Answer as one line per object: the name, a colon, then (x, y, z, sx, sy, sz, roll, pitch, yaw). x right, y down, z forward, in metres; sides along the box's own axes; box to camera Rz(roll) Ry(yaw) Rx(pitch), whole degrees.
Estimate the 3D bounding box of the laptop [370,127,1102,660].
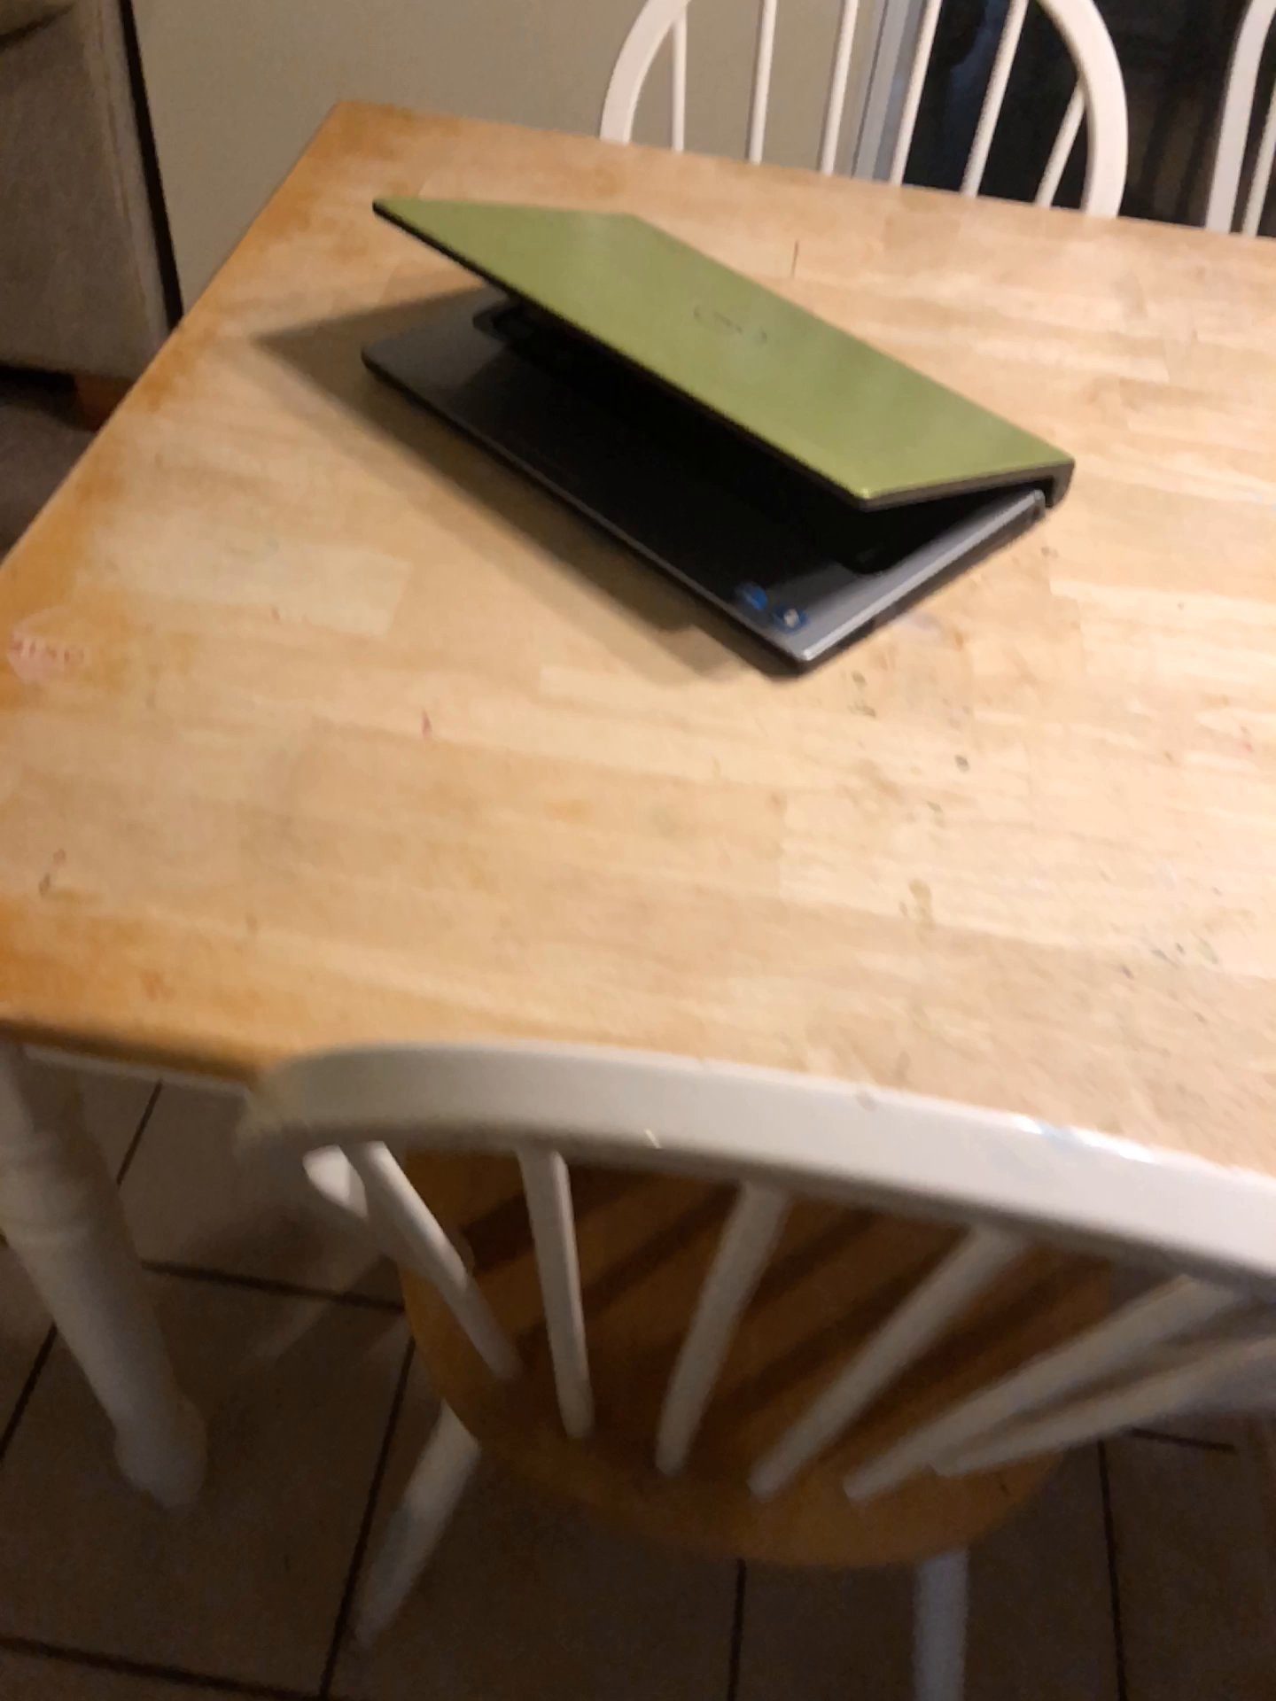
laptop: (0.045, -0.285, 0.811, 0.227, 0.076, 0.359, -35, 60, -29)
